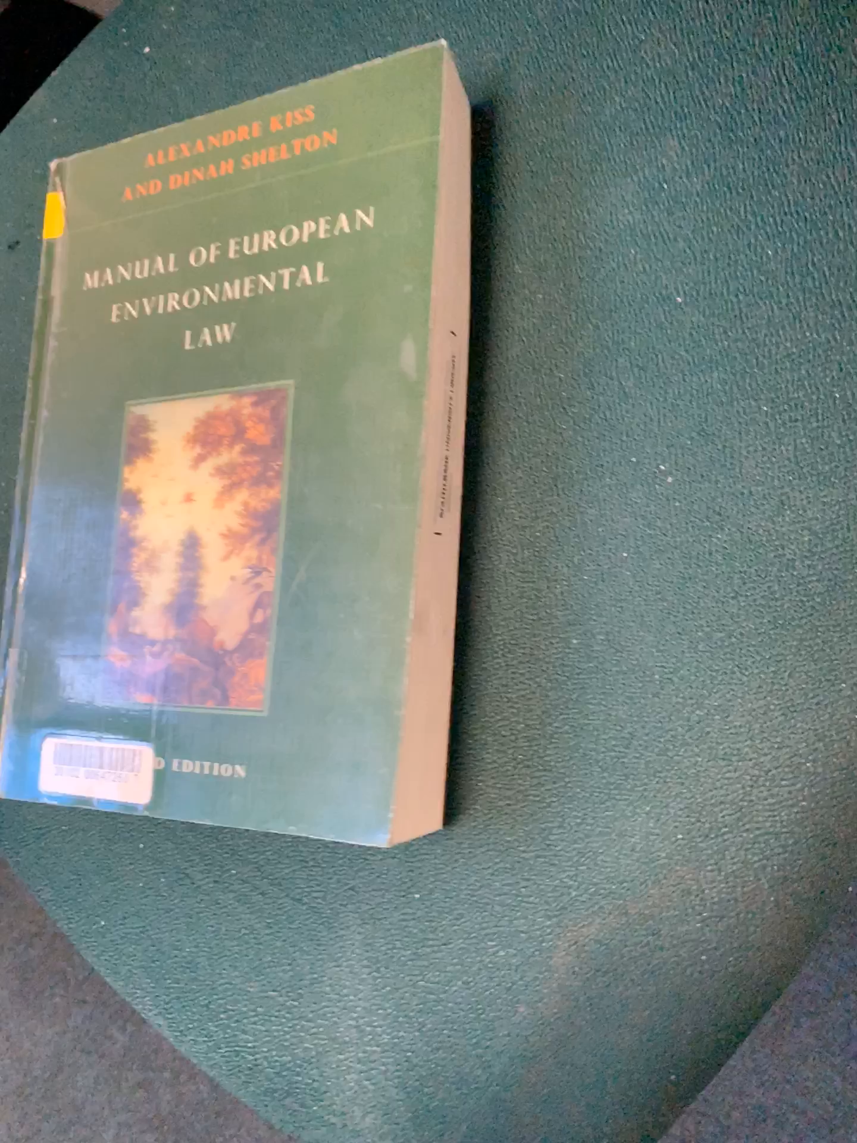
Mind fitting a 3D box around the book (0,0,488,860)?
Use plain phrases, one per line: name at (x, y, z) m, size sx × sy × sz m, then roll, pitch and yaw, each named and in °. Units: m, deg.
book at (-0.072, -0.044, 0.300) m, size 0.181 × 0.040 × 0.250 m, roll -3°, pitch 81°, yaw 24°
